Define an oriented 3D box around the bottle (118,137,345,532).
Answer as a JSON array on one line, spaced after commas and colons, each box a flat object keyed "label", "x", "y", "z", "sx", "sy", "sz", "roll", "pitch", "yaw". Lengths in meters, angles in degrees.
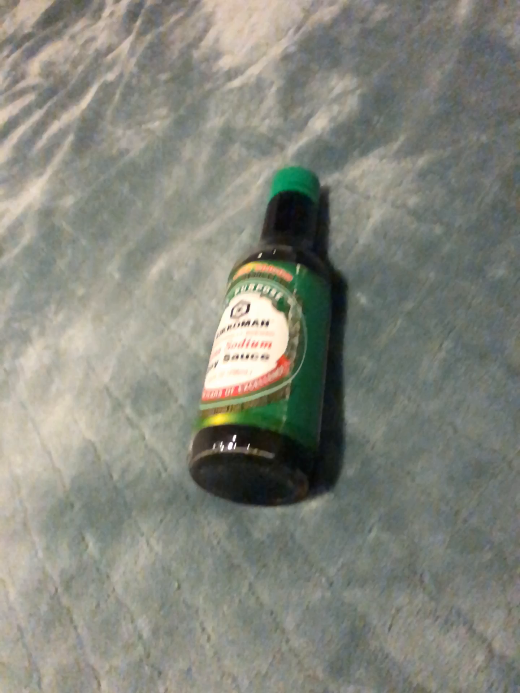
[{"label": "bottle", "x": -0.003, "y": -0.015, "z": 0.314, "sx": 0.070, "sy": 0.060, "sz": 0.210, "roll": -13, "pitch": 49, "yaw": 28}]
